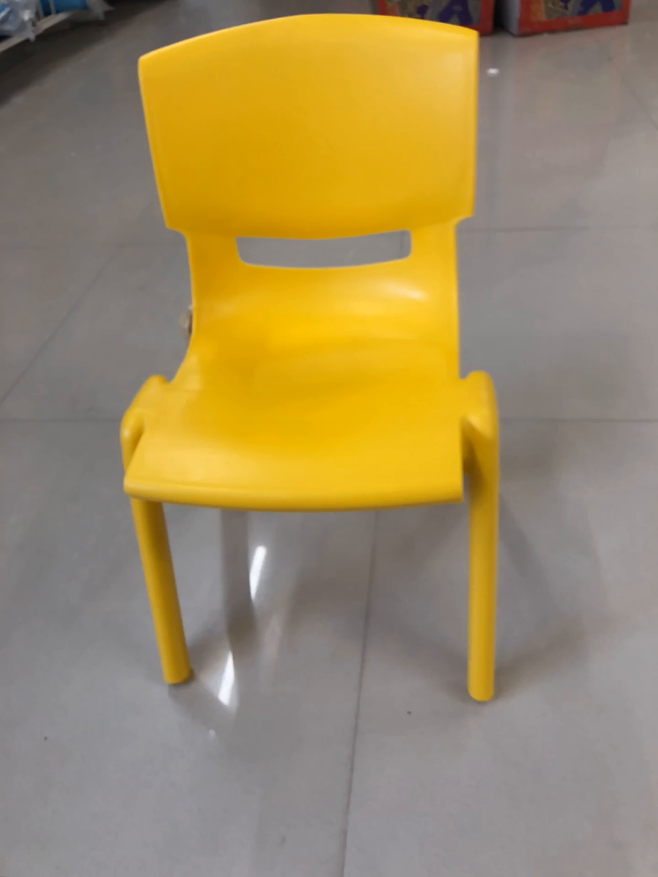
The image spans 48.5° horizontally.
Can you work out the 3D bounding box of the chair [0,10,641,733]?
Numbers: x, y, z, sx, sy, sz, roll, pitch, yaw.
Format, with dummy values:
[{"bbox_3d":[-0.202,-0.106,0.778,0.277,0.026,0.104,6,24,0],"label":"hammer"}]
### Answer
[{"bbox_3d":[-0.012,-0.076,0.616,0.360,0.397,0.453,-1,40,8],"label":"chair"}]
